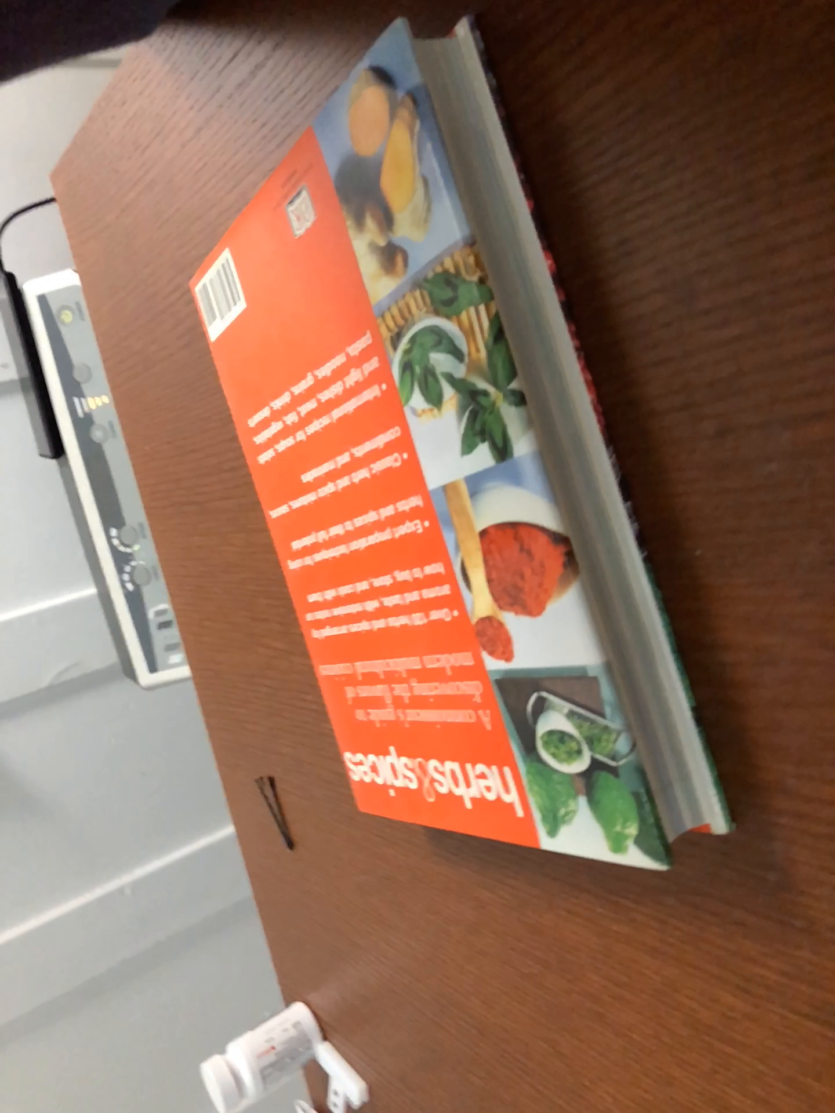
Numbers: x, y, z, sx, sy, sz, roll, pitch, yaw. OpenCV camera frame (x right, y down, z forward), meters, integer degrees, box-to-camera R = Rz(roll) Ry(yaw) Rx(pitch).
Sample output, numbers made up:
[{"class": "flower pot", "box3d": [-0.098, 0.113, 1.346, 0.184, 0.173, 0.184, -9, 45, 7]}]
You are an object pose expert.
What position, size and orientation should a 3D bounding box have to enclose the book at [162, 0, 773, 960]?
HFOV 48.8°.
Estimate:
[{"class": "book", "box3d": [-0.005, -0.012, 0.344, 0.211, 0.040, 0.270, -13, 95, 58]}]
